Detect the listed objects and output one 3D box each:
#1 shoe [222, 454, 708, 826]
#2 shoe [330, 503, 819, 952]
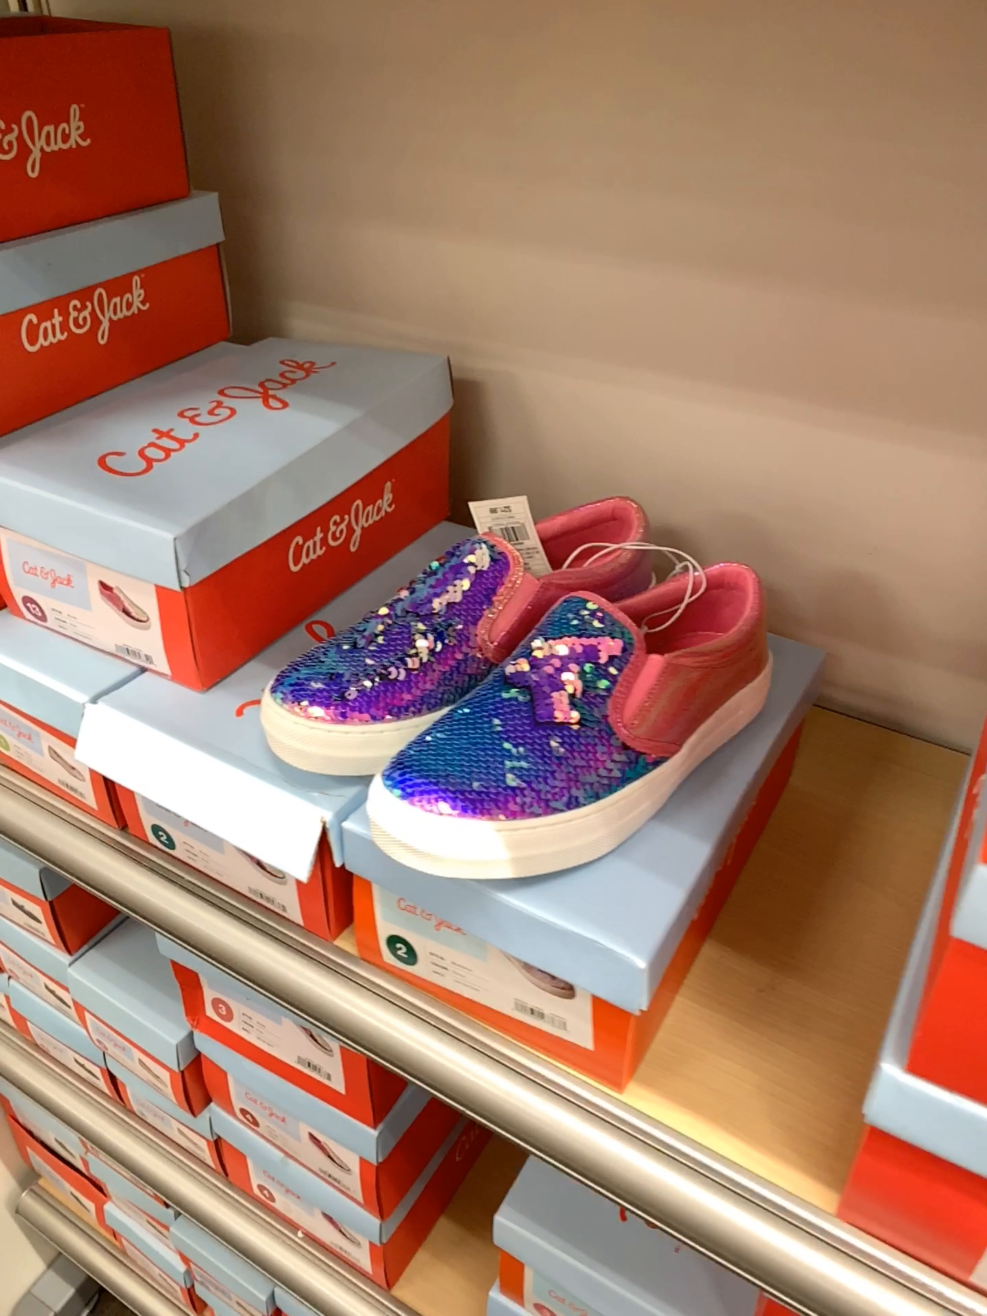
[{"bbox_3d":[-0.007,-0.021,0.492,0.210,0.074,0.100,-26,42,-31],"label":"shoe"},{"bbox_3d":[0.043,0.015,0.439,0.090,0.074,0.211,27,44,34],"label":"shoe"}]
